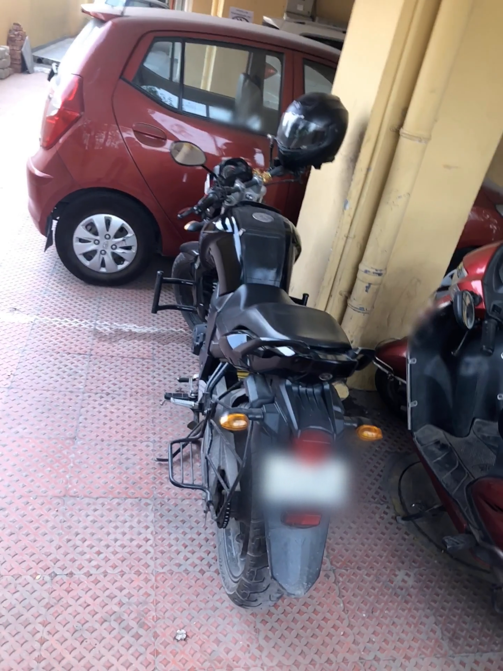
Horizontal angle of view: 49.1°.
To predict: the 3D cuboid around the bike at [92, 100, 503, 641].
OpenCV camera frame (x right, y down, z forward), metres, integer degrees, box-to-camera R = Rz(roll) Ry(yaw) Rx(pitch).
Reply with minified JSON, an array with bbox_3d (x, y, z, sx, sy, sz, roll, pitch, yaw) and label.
[{"bbox_3d":[-0.134,-0.089,1.962,0.739,1.025,1.789,3,29,-18],"label":"bike"}]
